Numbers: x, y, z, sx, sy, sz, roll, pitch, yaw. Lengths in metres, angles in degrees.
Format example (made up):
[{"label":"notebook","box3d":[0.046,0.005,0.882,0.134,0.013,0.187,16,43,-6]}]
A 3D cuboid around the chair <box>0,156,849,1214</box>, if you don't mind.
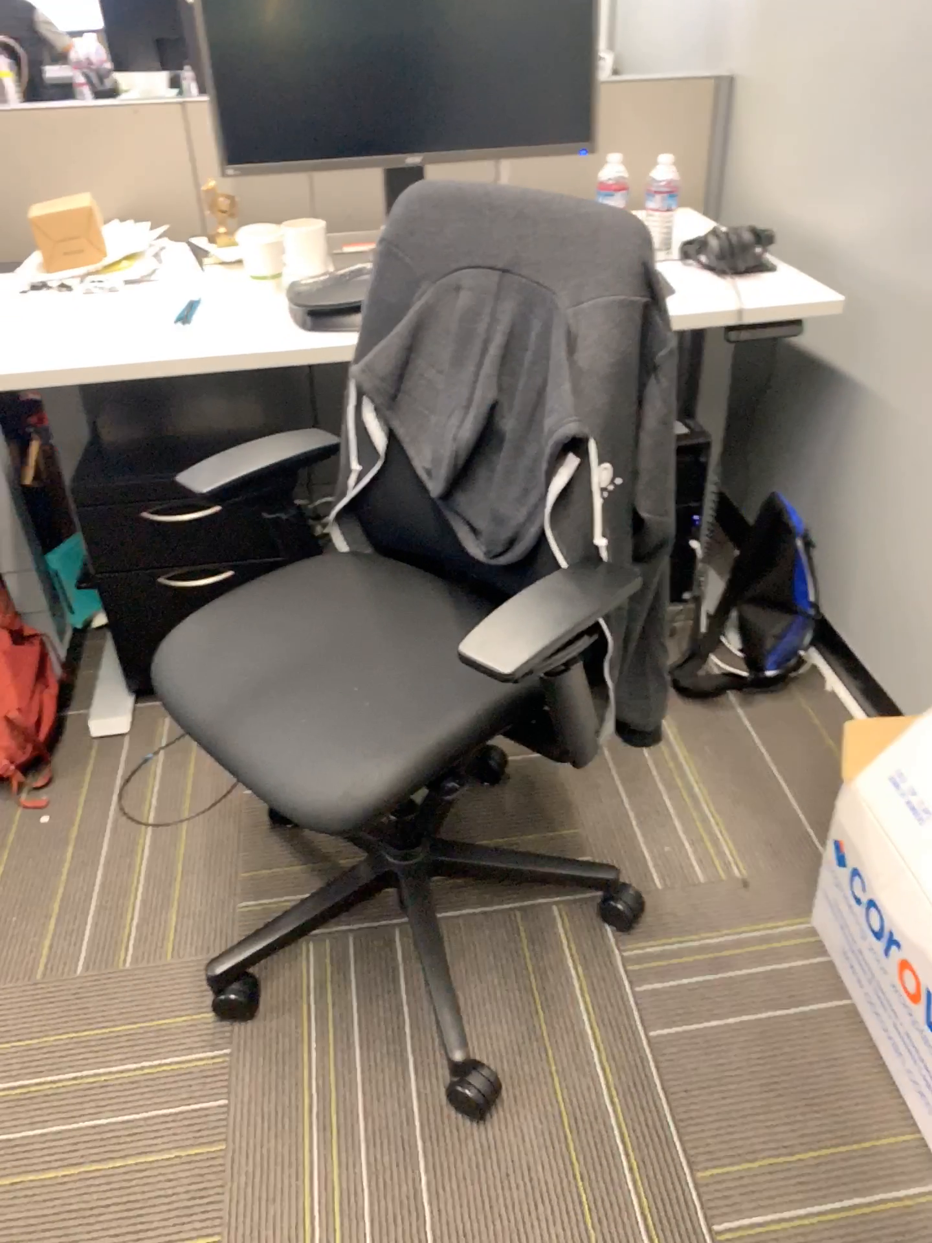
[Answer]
[{"label":"chair","box3d":[-0.072,0.006,1.311,0.683,0.994,0.802,25,43,33]}]
